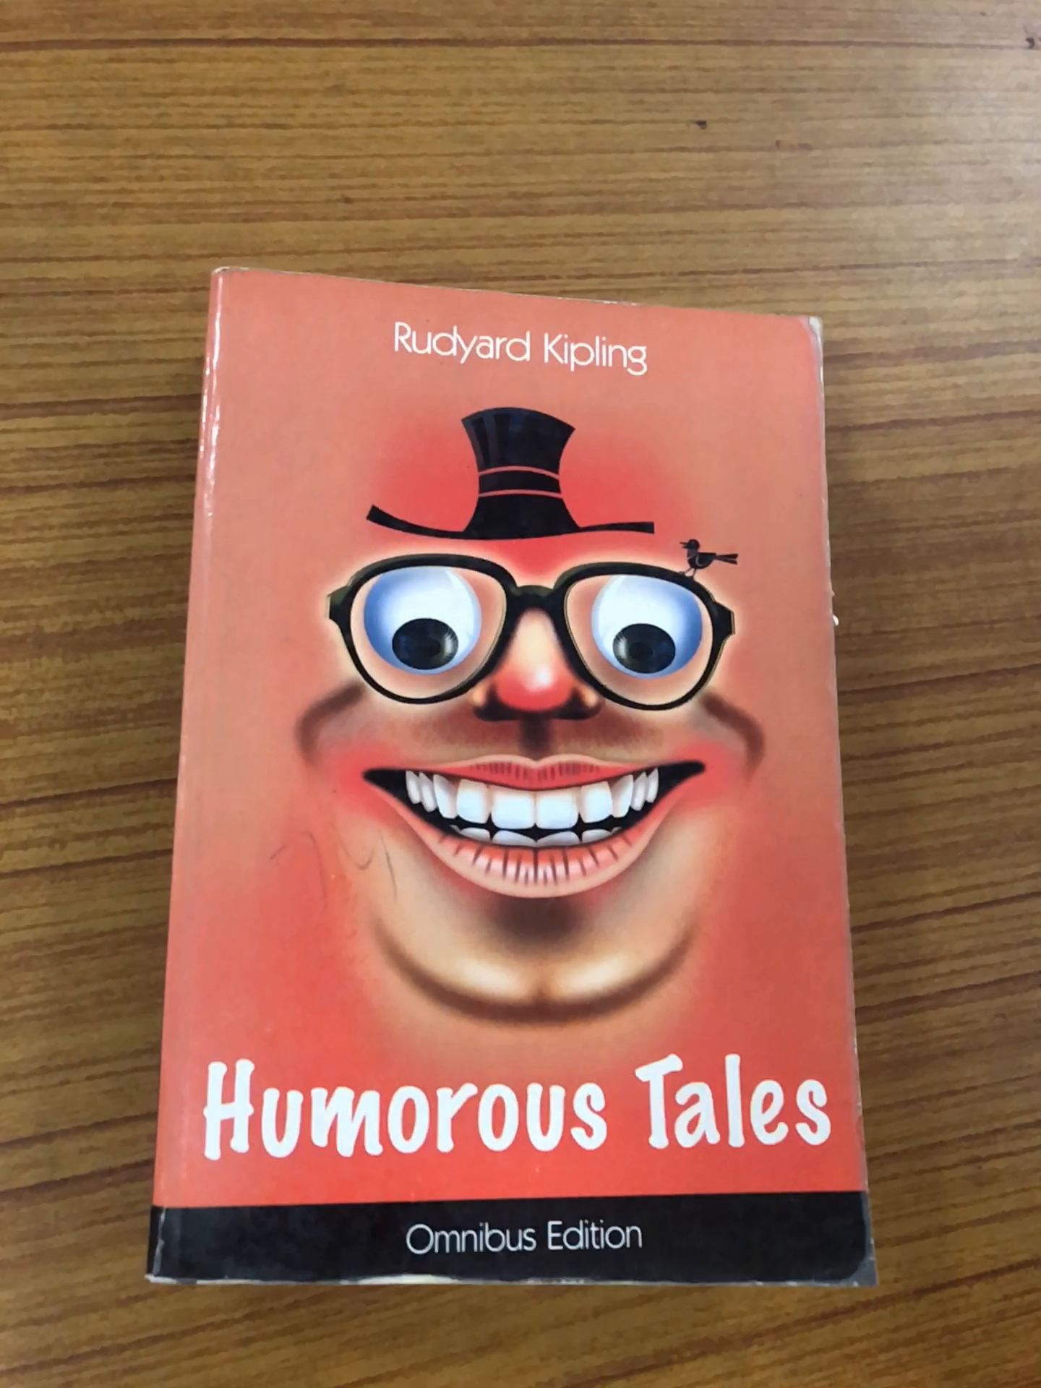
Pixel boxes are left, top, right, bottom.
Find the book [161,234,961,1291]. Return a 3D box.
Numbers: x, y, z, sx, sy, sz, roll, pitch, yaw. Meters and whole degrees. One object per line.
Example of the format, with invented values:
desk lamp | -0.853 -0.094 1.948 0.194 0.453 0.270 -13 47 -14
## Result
book | 0.007 0.008 0.229 0.130 0.040 0.190 1 78 -2
